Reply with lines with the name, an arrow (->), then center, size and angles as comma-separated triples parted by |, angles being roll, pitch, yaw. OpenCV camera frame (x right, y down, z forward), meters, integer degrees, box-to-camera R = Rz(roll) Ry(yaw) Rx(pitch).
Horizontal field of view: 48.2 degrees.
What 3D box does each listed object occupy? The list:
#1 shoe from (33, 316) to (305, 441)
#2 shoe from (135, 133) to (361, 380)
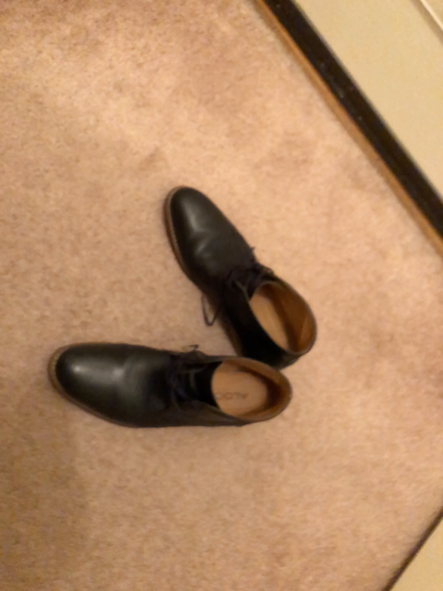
shoe -> -0.065, 0.110, 0.613 | 0.302, 0.136, 0.116 | 8, 76, -19
shoe -> 0.029, -0.043, 0.685 | 0.116, 0.136, 0.302 | -38, 93, -23
